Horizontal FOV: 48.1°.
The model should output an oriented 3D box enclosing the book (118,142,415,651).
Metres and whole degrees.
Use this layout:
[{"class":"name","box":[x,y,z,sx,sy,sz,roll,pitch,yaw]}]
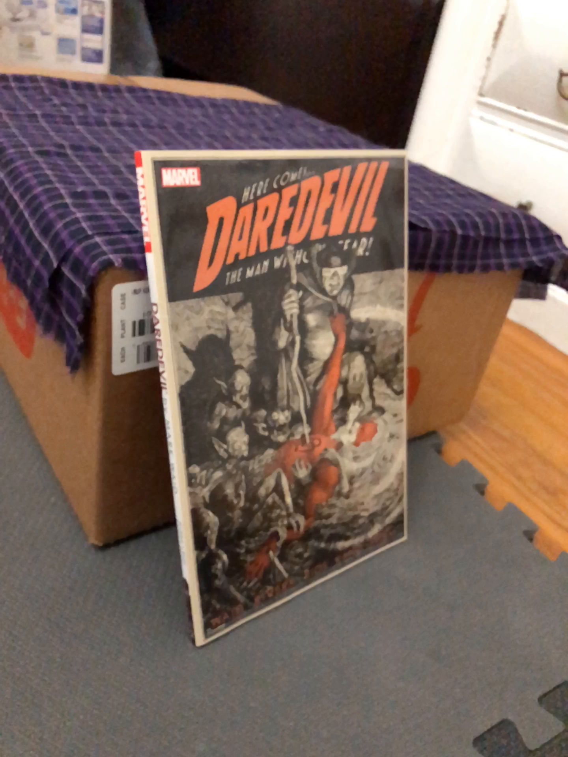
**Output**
[{"class":"book","box":[0.007,0.001,0.329,0.161,0.229,0.020,-15,19,-36]}]
